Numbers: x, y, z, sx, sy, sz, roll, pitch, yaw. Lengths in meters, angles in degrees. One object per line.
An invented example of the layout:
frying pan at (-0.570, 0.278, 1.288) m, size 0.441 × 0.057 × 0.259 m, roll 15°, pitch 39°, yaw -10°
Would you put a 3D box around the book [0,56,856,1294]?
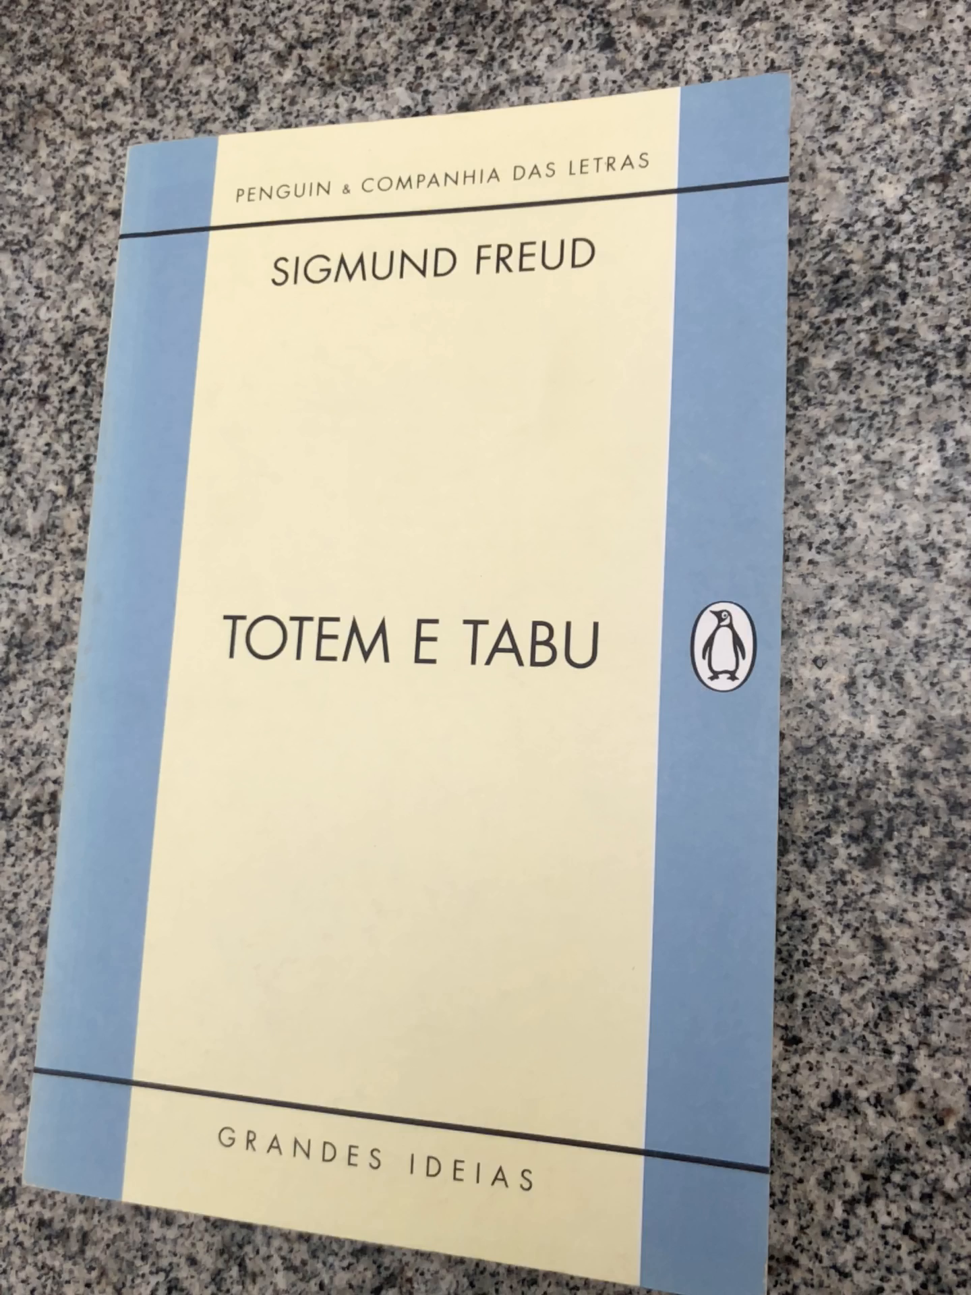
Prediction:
book at (-0.011, 0.003, 0.177) m, size 0.130 × 0.015 × 0.191 m, roll 2°, pitch 82°, yaw 14°
